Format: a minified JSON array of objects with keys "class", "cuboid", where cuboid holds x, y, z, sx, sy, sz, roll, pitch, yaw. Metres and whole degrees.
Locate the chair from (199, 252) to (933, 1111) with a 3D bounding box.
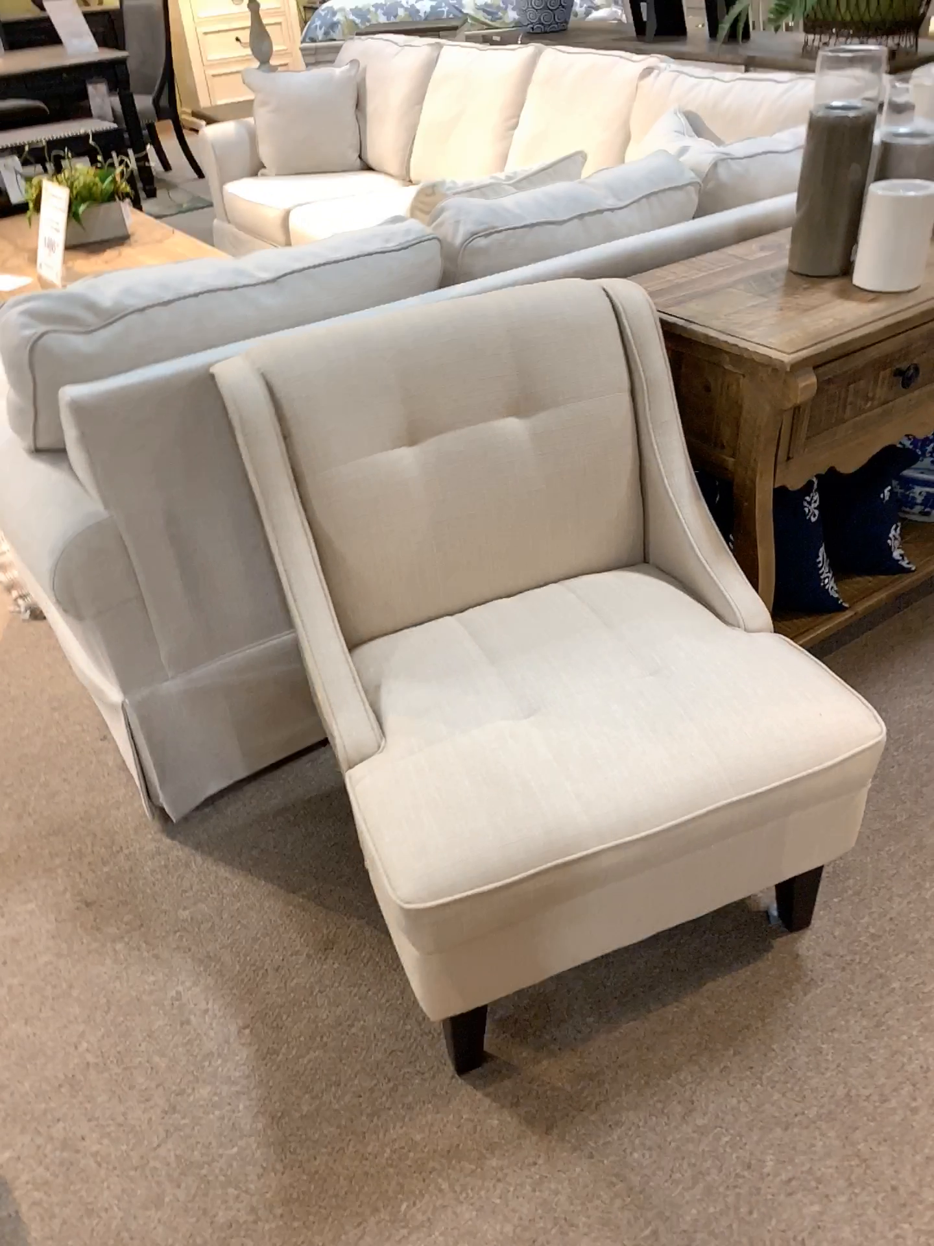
[{"class":"chair","cuboid":[0.114,0.022,1.407,0.713,0.800,0.774,-16,39,-15]}]
